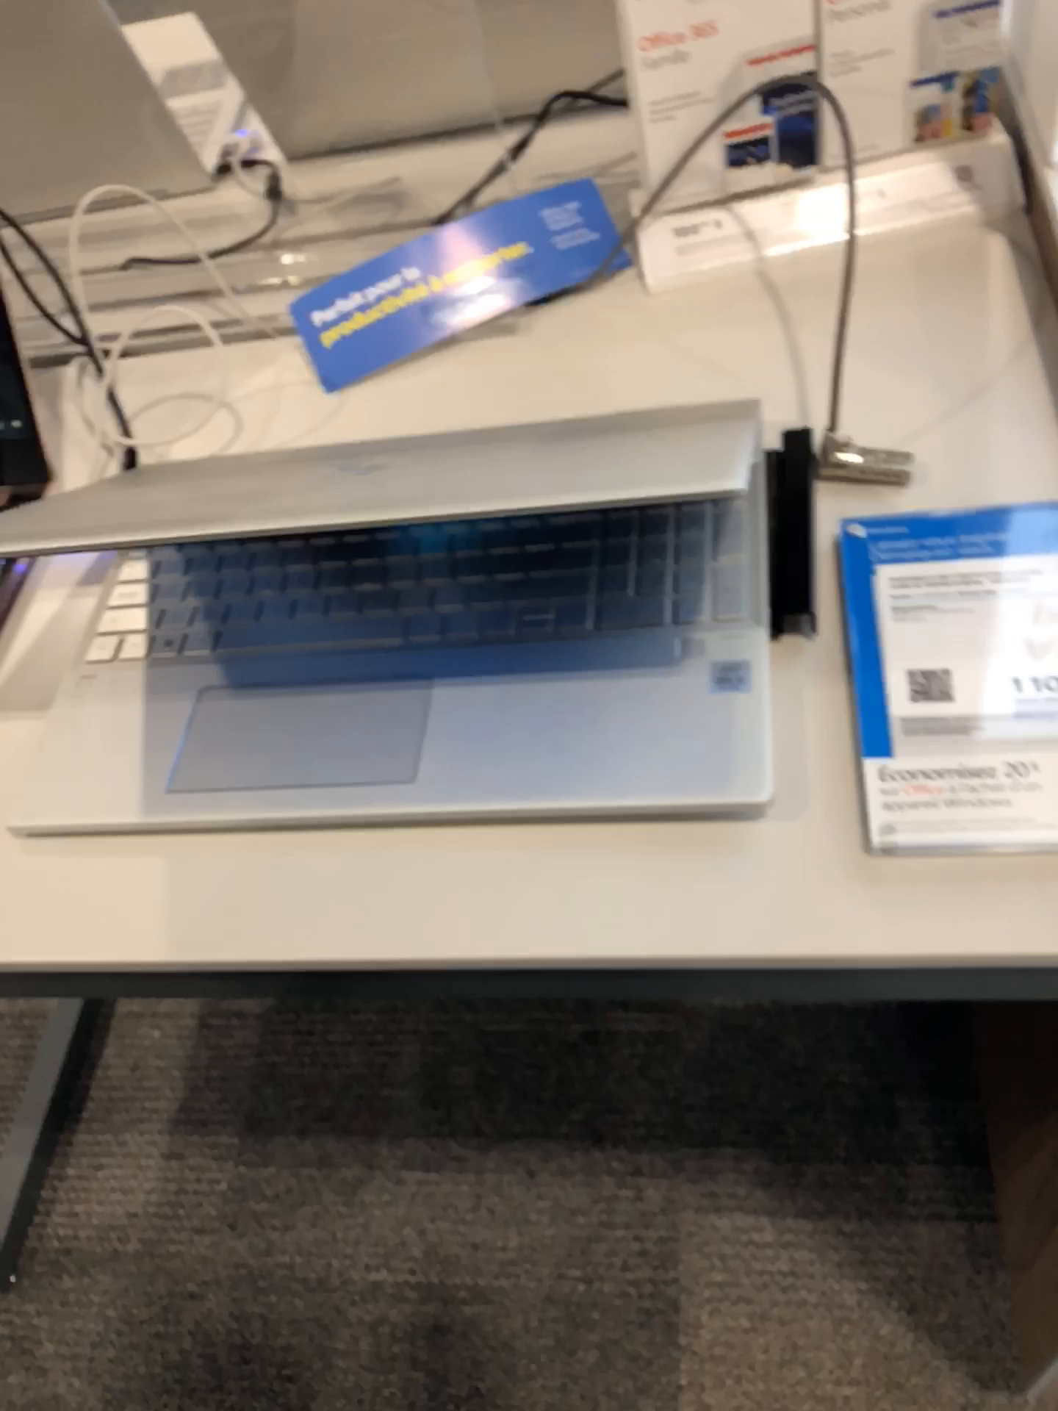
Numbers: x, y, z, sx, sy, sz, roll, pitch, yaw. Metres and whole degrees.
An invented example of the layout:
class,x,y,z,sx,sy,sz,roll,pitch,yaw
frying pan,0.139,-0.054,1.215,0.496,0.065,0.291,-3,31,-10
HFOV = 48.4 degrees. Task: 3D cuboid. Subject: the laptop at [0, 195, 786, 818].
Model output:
class,x,y,z,sx,sy,sz,roll,pitch,yaw
laptop,-0.069,-0.082,0.521,0.346,0.116,0.230,-2,54,15
